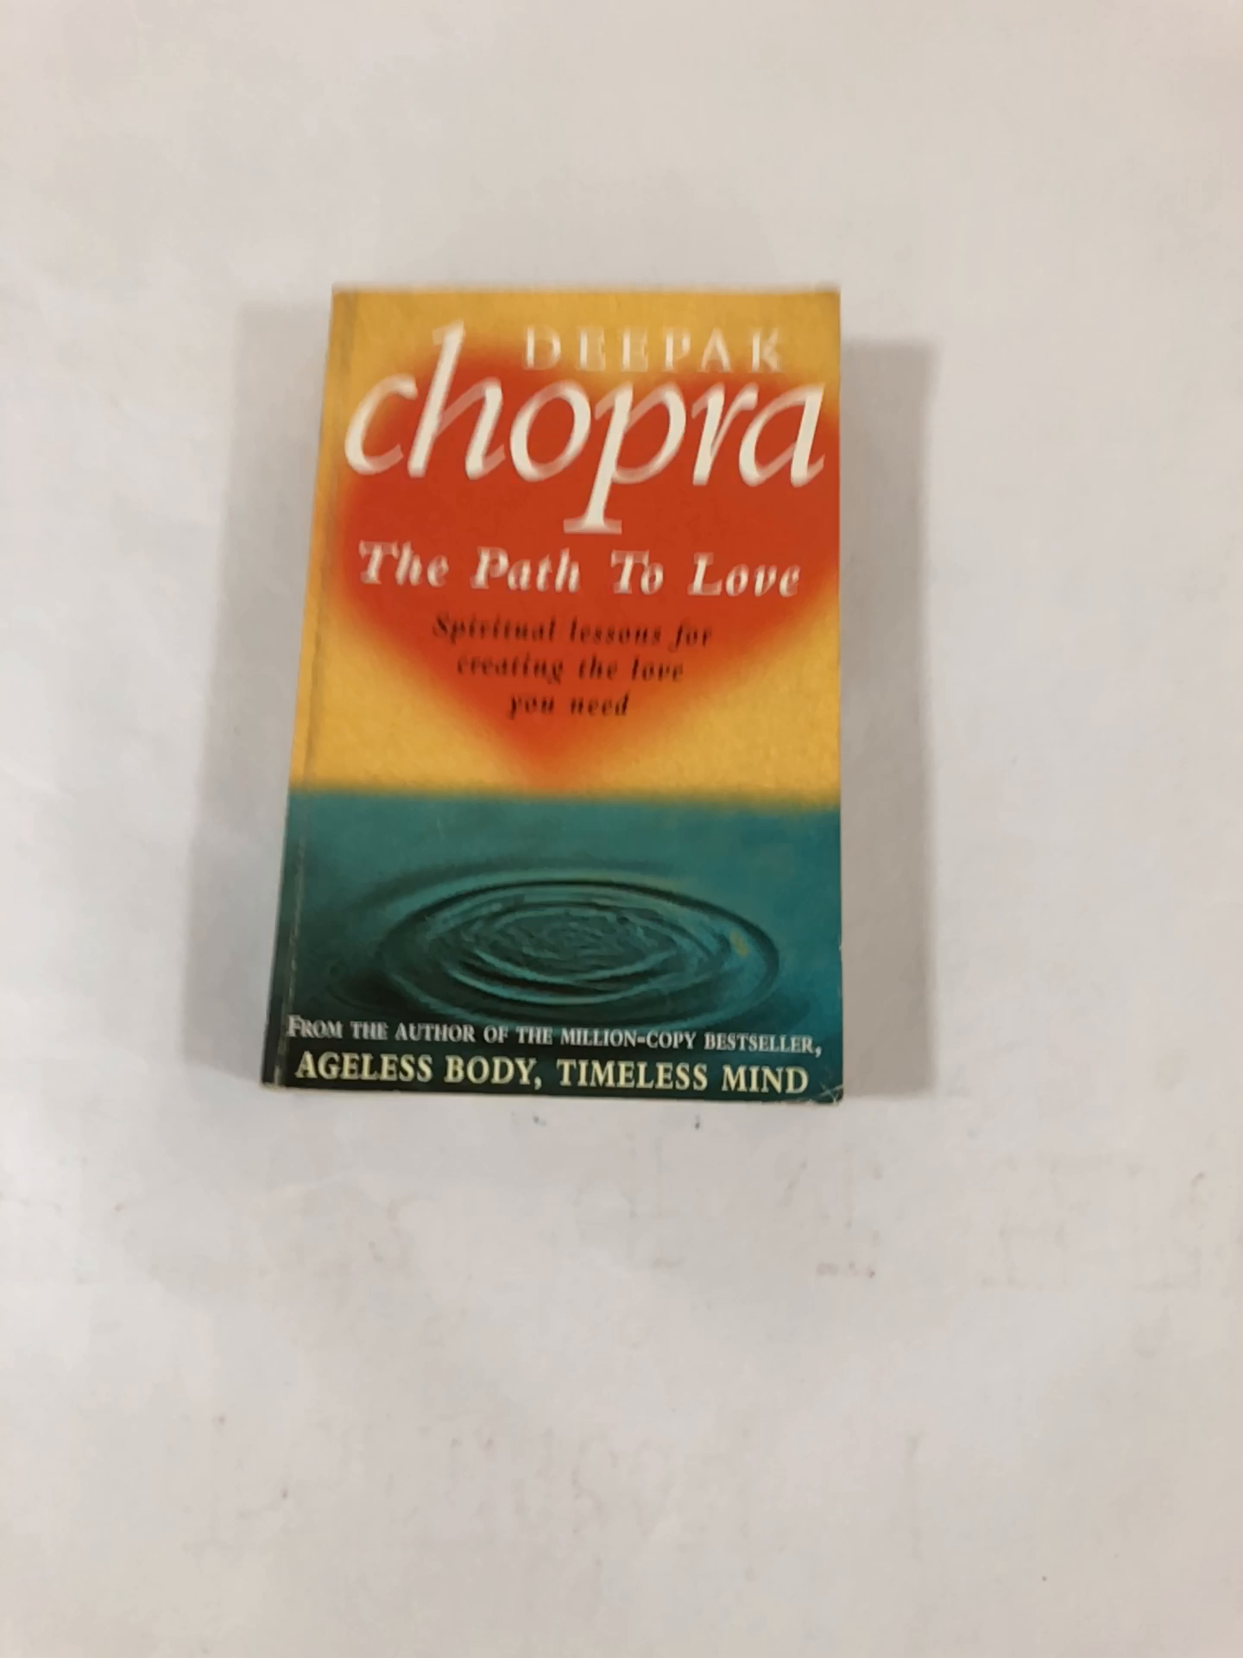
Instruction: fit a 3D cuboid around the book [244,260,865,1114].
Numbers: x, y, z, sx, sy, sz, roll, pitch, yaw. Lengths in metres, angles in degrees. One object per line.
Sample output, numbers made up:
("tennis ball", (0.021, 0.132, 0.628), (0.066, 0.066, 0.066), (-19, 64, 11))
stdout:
("book", (-0.011, -0.036, 0.335), (0.130, 0.040, 0.200), (2, 75, -1))
